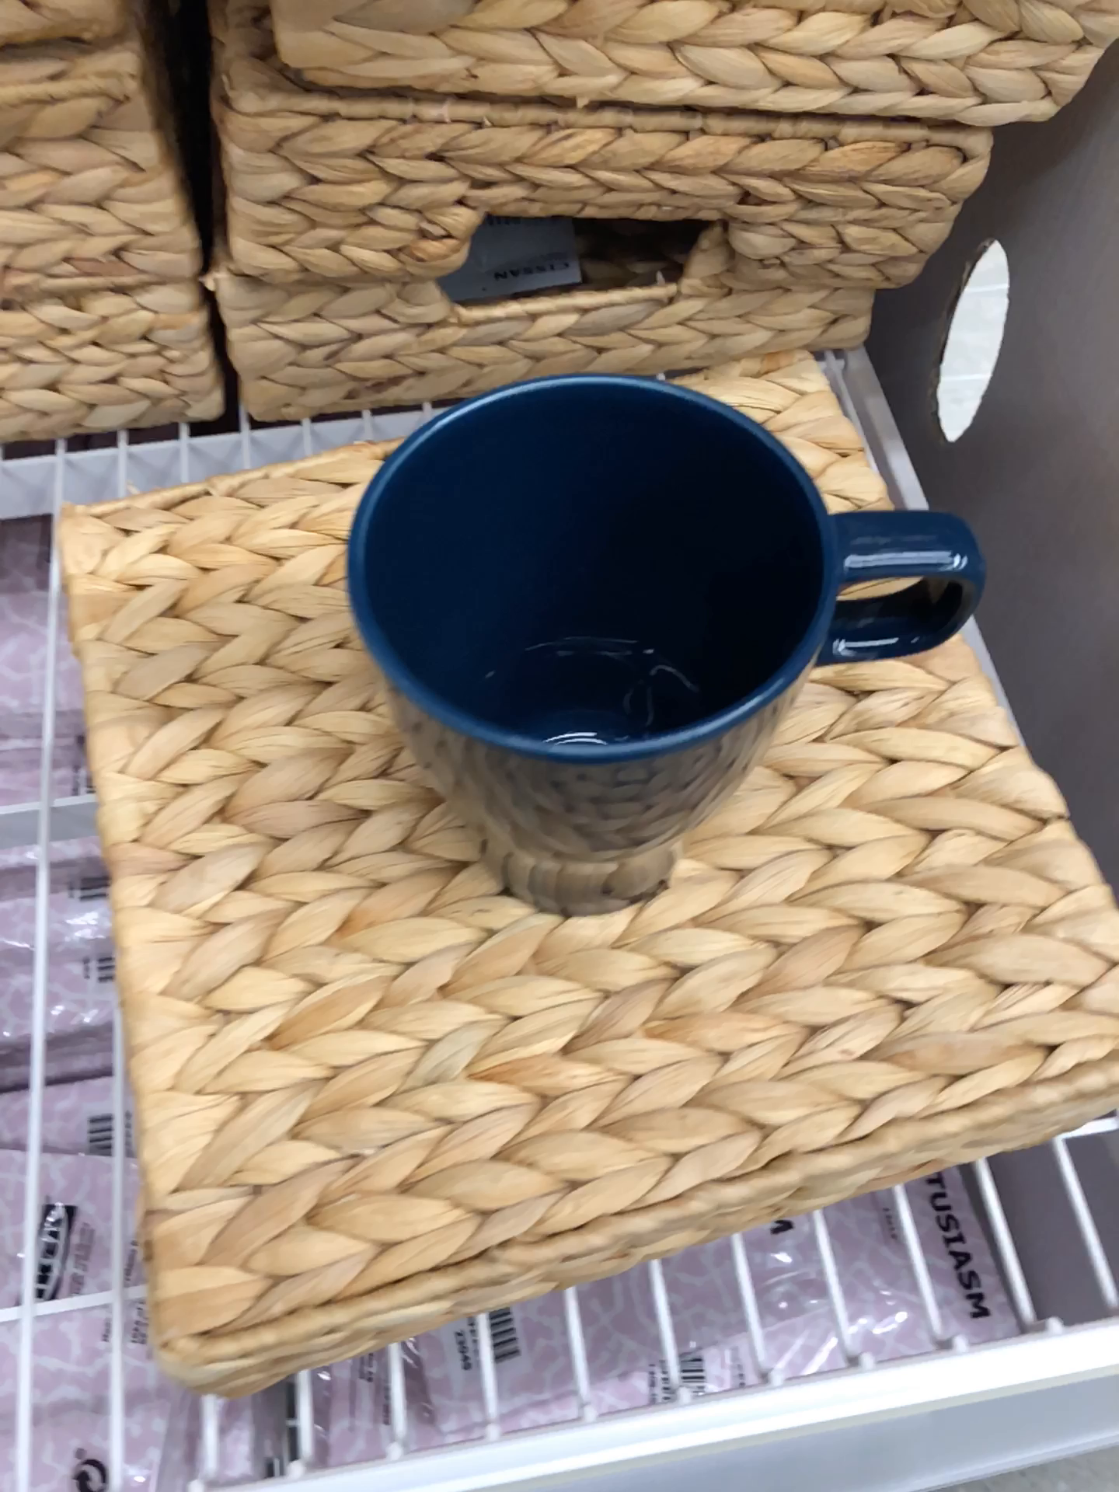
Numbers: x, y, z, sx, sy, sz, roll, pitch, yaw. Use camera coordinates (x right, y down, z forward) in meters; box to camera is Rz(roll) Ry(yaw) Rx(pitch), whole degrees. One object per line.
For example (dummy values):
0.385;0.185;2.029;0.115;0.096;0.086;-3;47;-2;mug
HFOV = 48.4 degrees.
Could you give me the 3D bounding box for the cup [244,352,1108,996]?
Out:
0.015;-0.009;0.232;0.120;0.090;0.080;-2;59;-1;cup
